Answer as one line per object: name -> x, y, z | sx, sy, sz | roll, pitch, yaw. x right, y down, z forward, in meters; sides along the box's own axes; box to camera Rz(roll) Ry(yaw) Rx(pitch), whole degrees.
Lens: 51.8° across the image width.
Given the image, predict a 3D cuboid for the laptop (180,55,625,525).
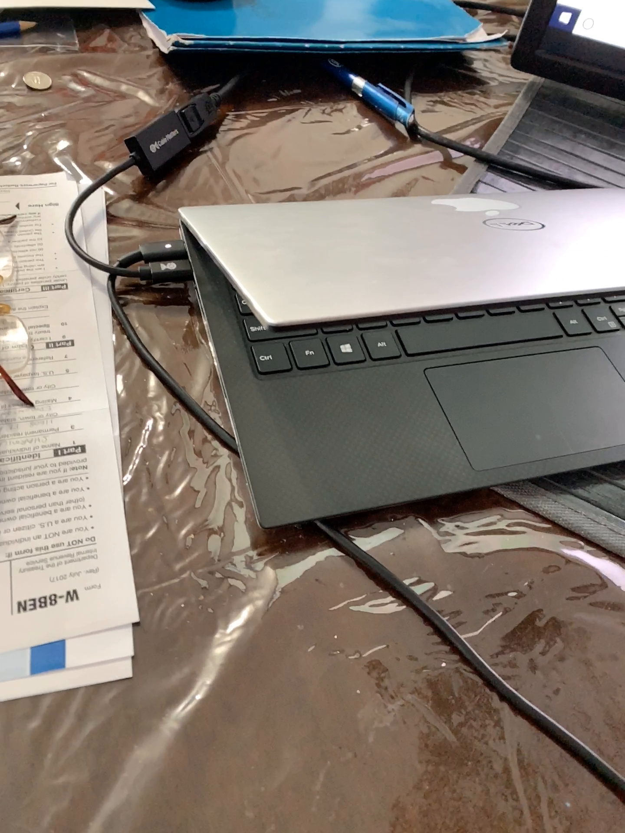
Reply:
laptop -> 0.100, -0.076, 0.300 | 0.290, 0.085, 0.185 | -8, 54, -16
